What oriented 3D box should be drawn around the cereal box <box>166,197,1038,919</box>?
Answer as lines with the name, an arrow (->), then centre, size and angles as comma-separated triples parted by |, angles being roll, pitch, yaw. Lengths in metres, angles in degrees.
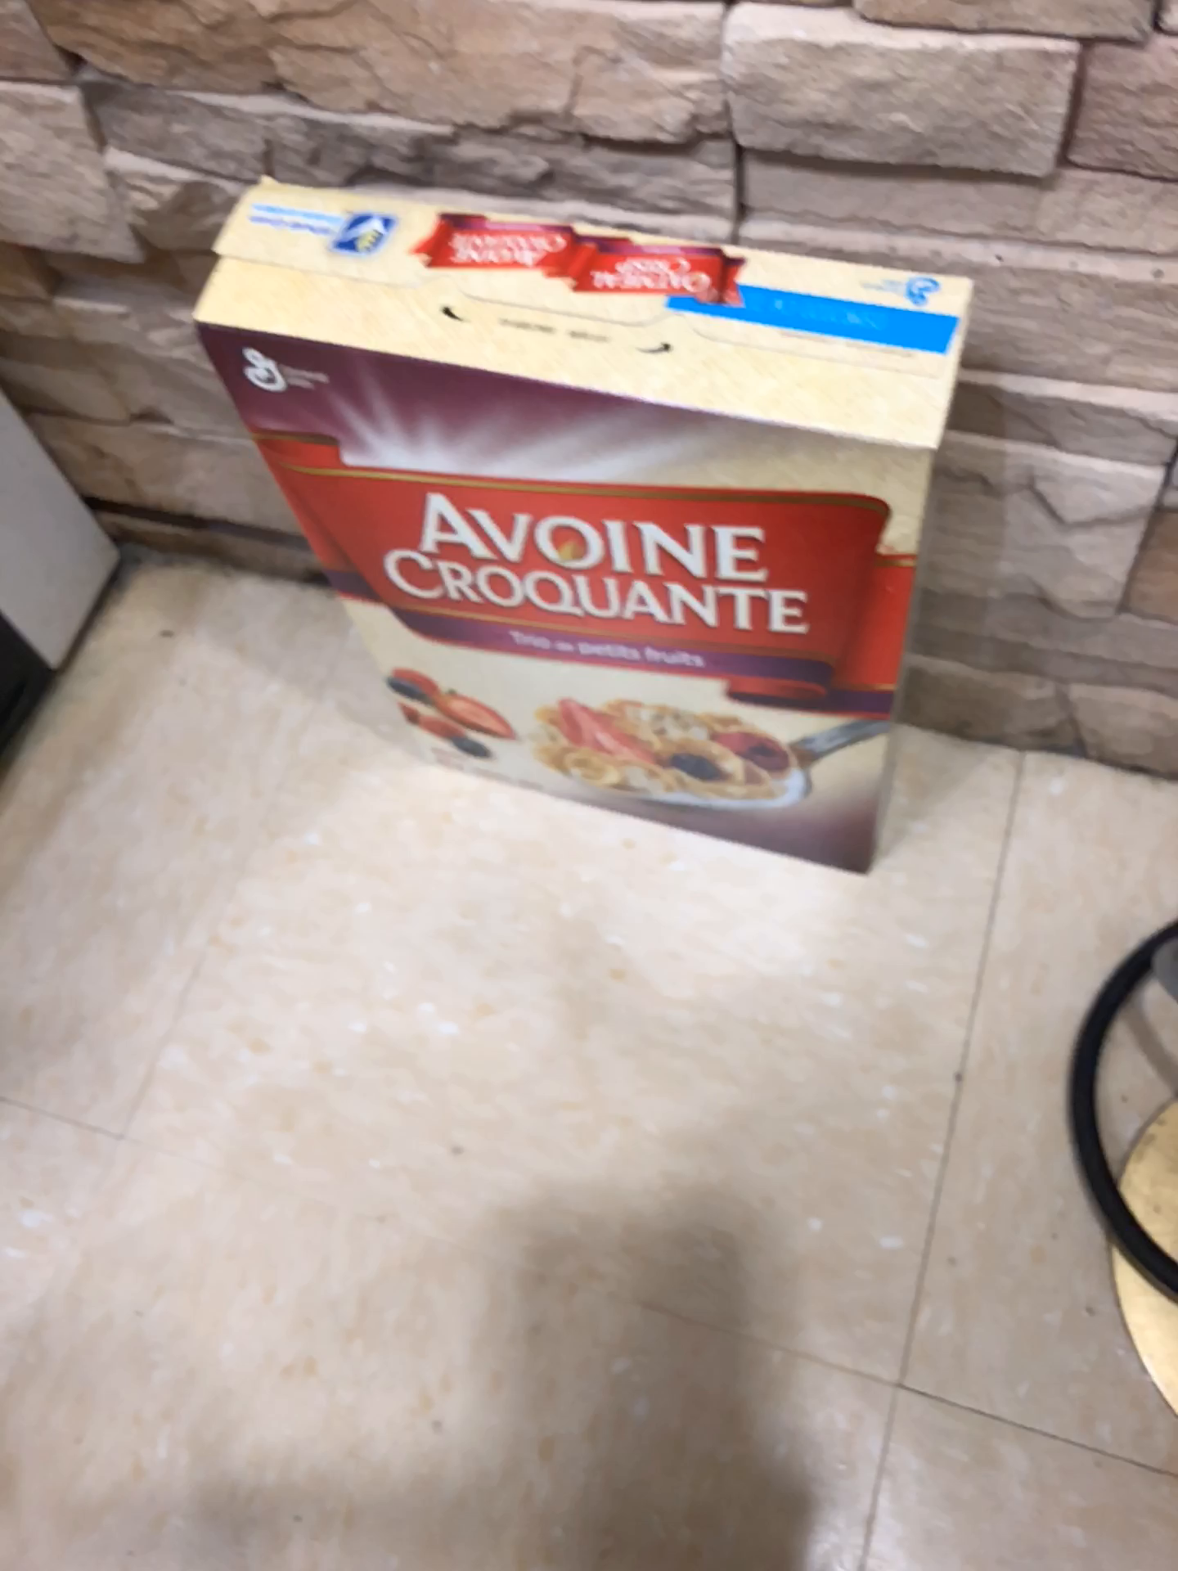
cereal box -> 0.014, -0.053, 0.422 | 0.200, 0.249, 0.060 | 14, 67, 14
